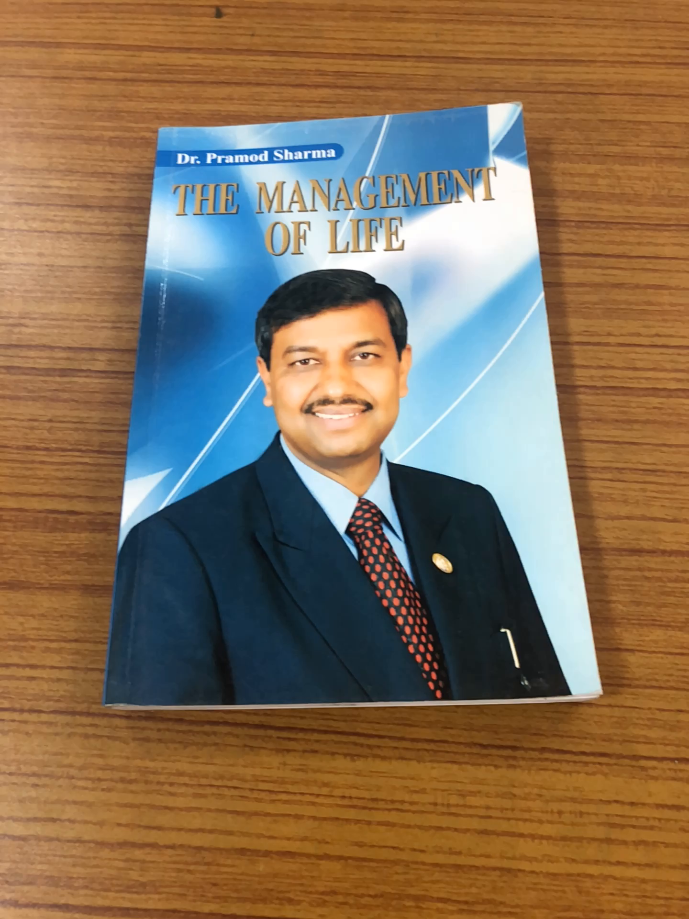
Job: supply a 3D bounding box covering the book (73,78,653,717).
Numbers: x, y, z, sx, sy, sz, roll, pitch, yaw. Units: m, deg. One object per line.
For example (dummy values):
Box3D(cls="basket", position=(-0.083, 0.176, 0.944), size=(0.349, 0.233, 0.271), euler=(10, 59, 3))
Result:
Box3D(cls="book", position=(0.002, -0.030, 0.248), size=(0.150, 0.020, 0.210), euler=(-3, 68, 4))
